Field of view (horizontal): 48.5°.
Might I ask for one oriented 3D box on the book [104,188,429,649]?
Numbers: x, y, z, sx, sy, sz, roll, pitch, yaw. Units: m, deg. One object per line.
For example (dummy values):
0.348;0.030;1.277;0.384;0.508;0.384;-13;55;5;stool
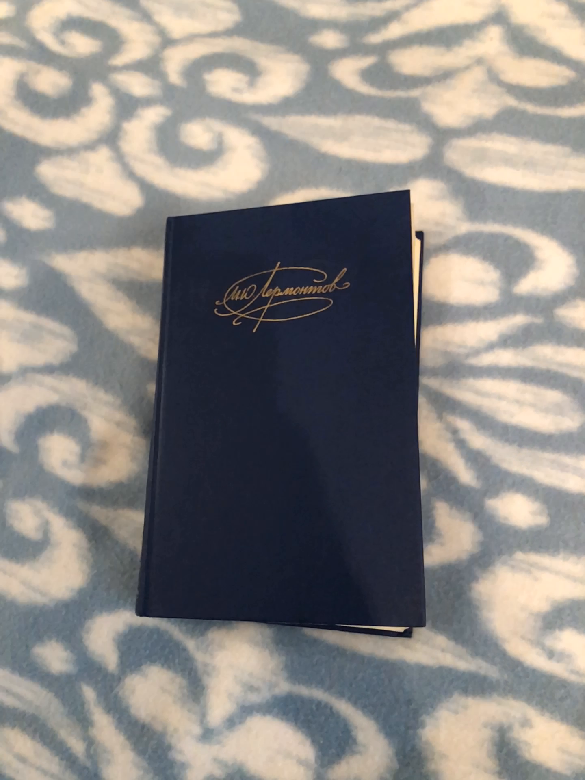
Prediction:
-0.008;0.010;0.312;0.138;0.040;0.200;-2;76;14;book
